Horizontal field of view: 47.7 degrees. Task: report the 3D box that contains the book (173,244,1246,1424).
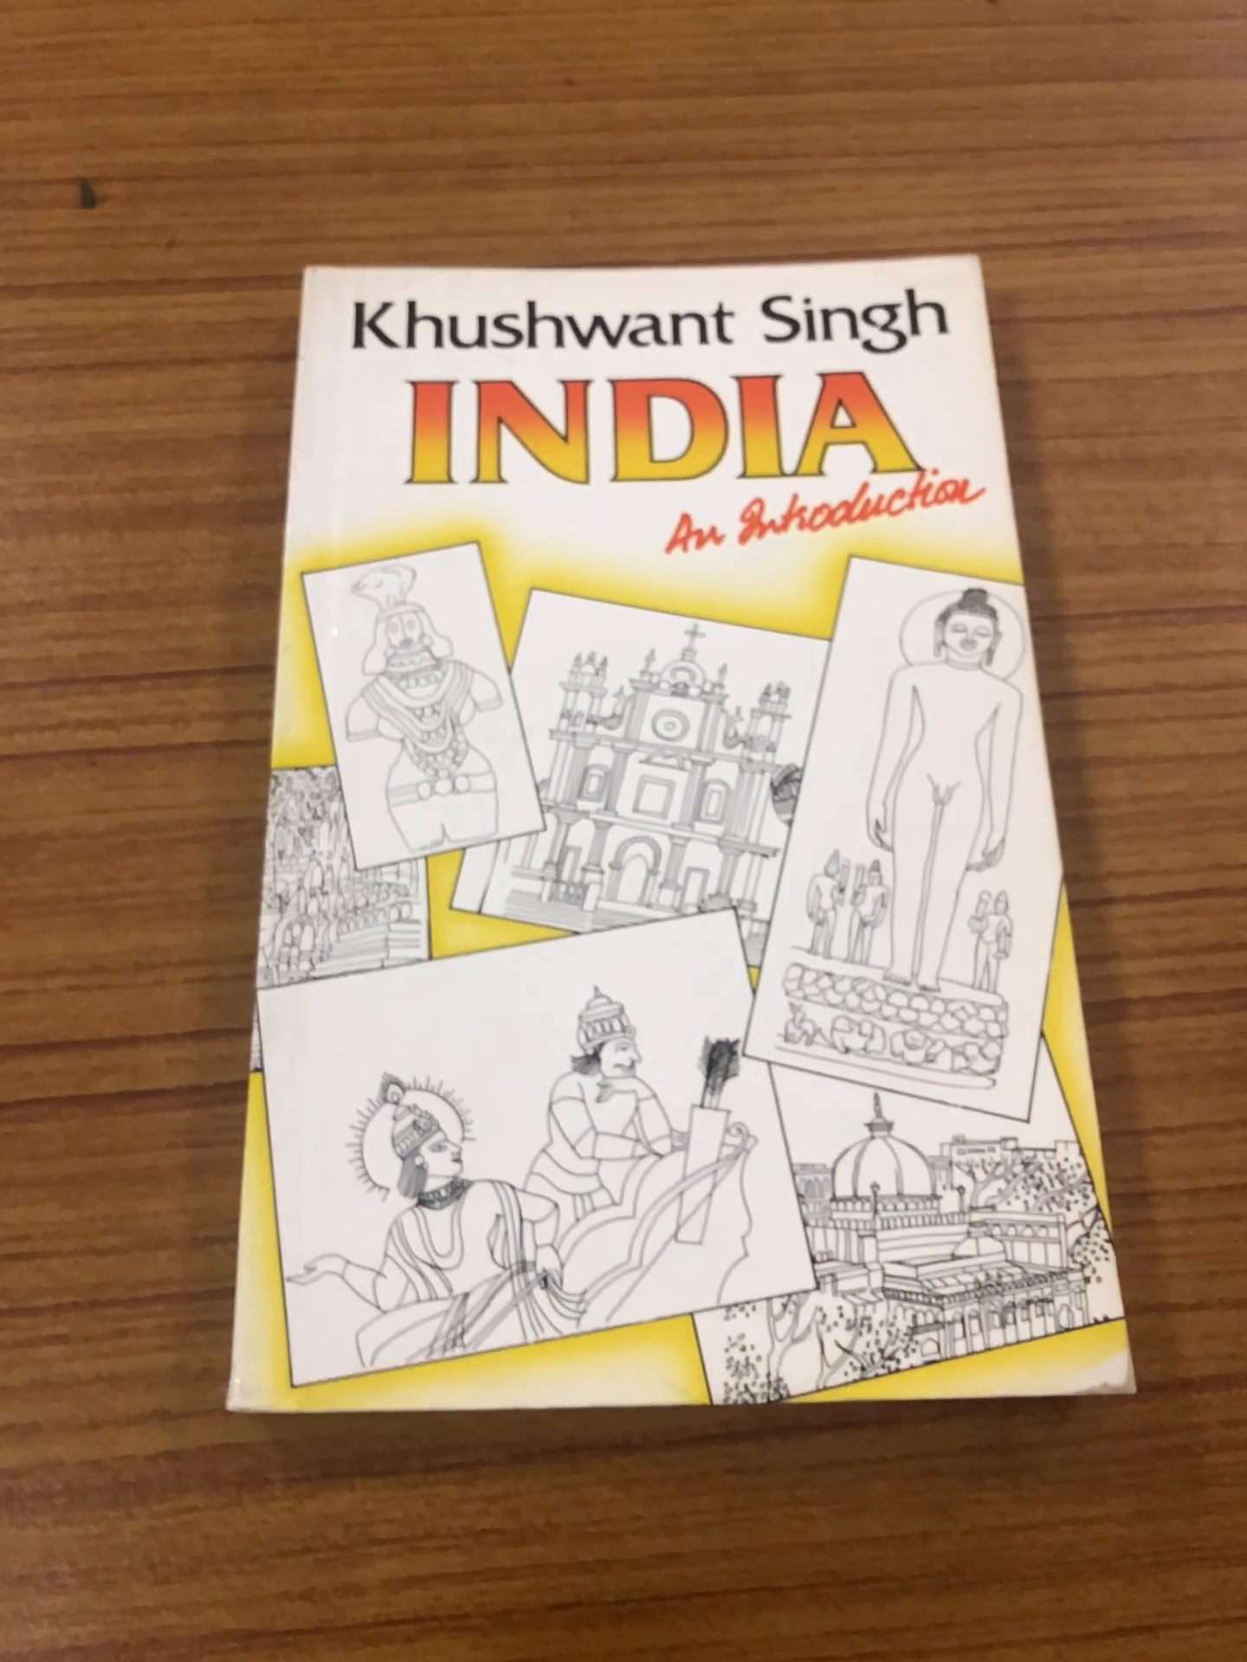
[{"bbox_3d":[0.010,-0.011,0.224,0.140,0.020,0.190,-1,70,-2],"label":"book"}]
